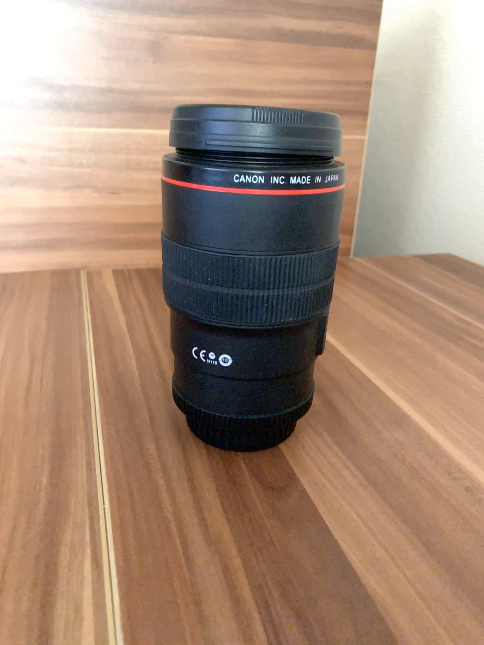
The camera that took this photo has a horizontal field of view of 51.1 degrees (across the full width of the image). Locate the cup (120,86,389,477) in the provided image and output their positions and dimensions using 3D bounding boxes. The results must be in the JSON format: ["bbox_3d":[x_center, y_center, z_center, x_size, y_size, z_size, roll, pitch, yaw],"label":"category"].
[{"bbox_3d":[-0.001,-0.024,0.221,0.070,0.139,0.080,-12,27,-32],"label":"cup"}]
